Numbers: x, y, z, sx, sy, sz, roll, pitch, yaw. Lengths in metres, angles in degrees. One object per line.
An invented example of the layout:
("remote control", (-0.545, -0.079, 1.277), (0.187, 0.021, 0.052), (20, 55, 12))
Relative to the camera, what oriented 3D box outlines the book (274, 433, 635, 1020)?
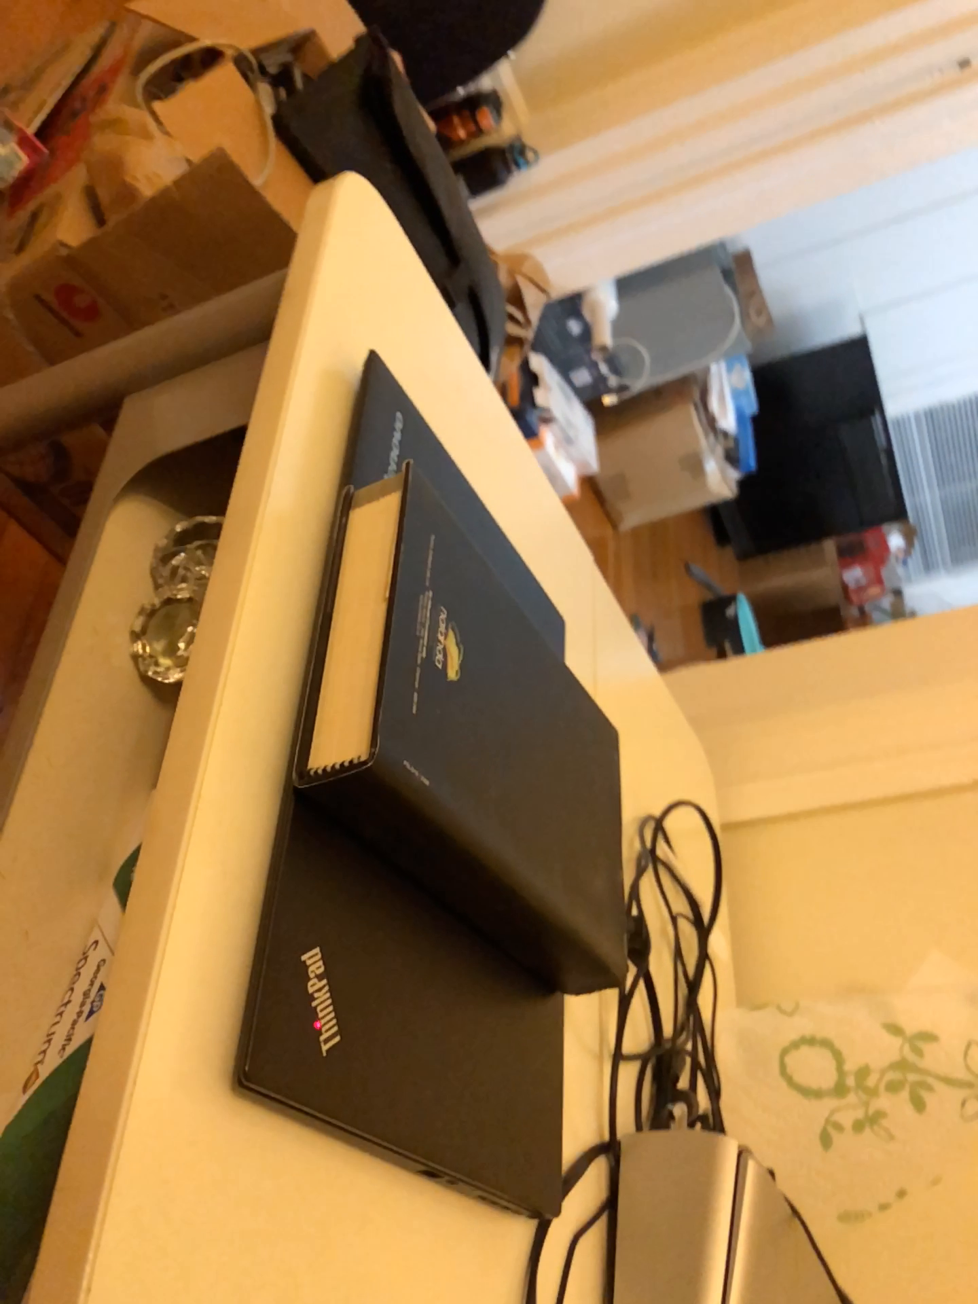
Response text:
("book", (0.002, 0.044, 0.460), (0.230, 0.040, 0.150), (52, 32, -46))
